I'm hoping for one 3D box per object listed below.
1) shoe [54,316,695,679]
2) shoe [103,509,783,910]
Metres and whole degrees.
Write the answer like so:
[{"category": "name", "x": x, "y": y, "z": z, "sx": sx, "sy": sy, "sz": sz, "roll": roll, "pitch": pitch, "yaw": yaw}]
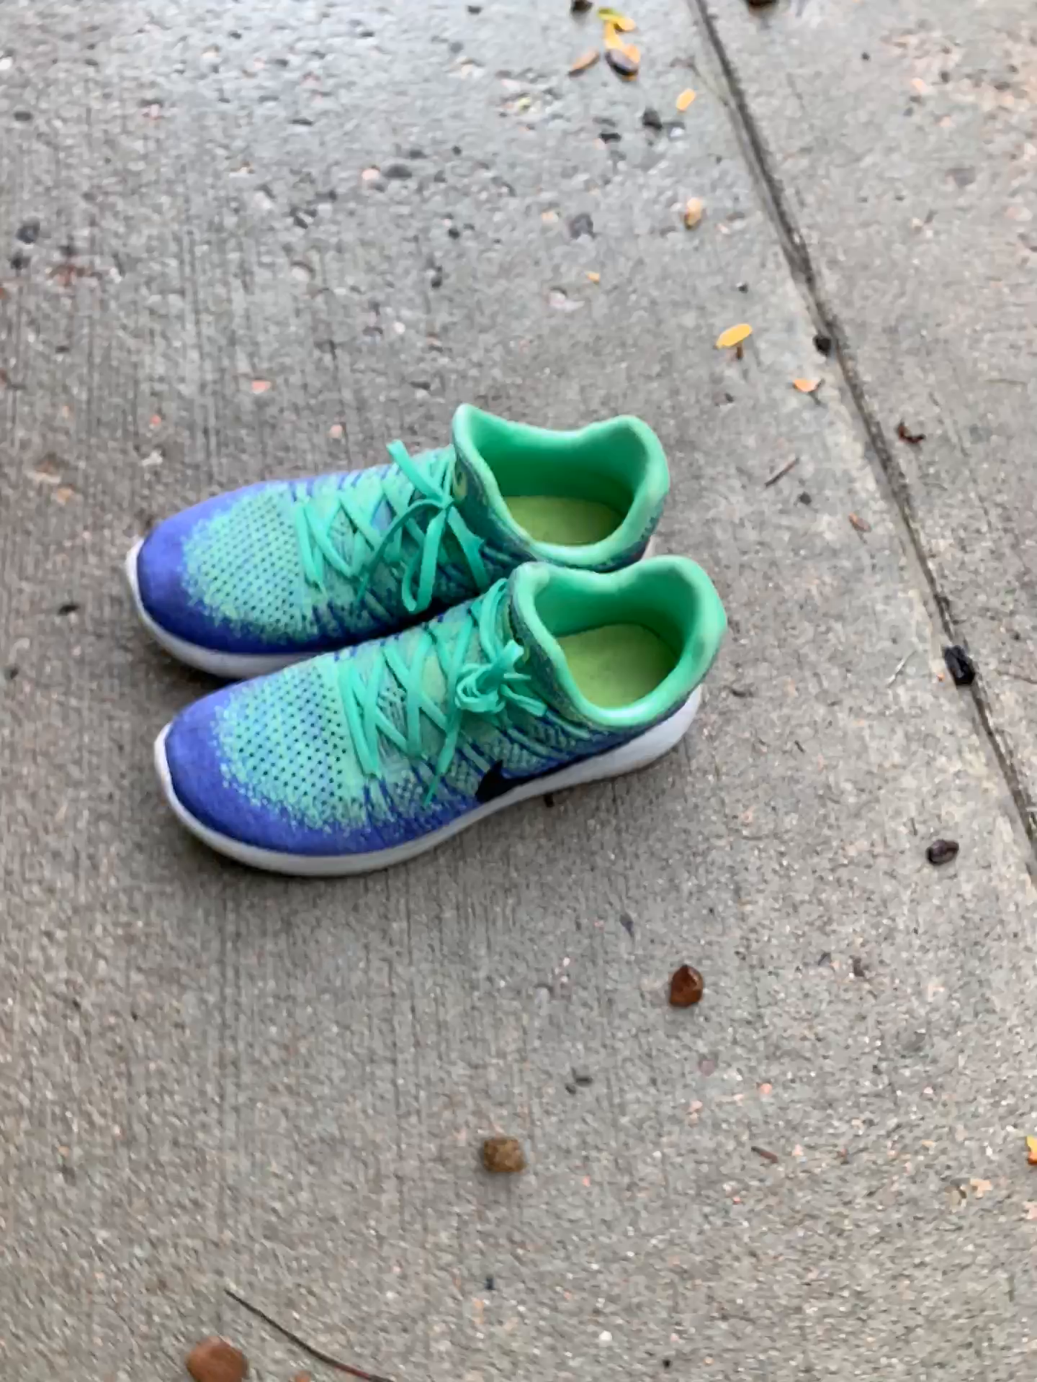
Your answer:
[{"category": "shoe", "x": -0.067, "y": -0.093, "z": 0.529, "sx": 0.270, "sy": 0.110, "sz": 0.100, "roll": -10, "pitch": 74, "yaw": -8}, {"category": "shoe", "x": -0.038, "y": 0.010, "z": 0.536, "sx": 0.290, "sy": 0.110, "sz": 0.120, "roll": -10, "pitch": 68, "yaw": -8}]
